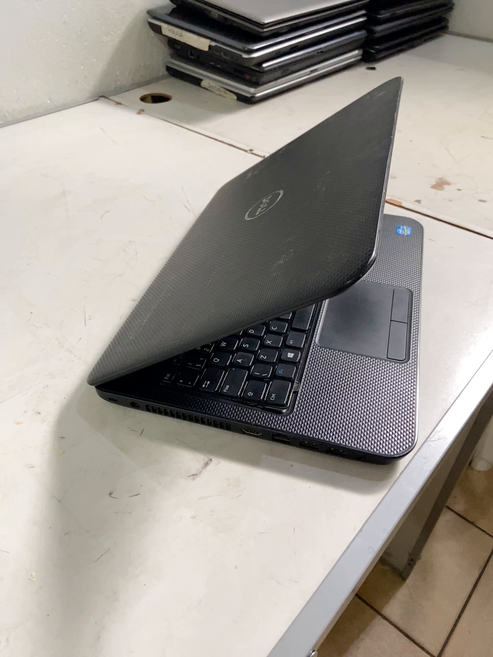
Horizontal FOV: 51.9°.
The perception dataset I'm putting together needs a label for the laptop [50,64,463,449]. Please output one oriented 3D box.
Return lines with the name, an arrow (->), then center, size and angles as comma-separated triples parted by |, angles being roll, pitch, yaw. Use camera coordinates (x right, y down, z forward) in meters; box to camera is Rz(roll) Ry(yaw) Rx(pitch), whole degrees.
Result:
laptop -> 0.039, -0.099, 0.439 | 0.230, 0.141, 0.332 | 11, 43, 11
